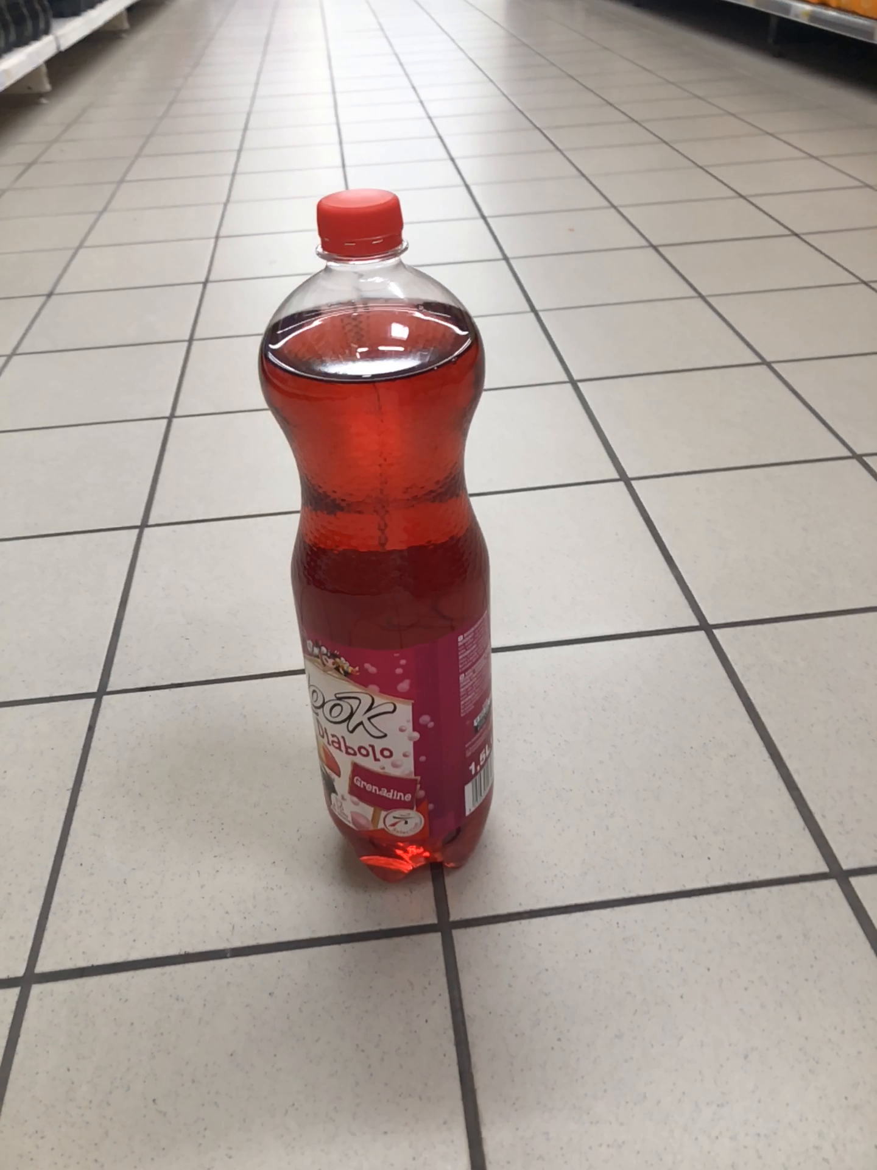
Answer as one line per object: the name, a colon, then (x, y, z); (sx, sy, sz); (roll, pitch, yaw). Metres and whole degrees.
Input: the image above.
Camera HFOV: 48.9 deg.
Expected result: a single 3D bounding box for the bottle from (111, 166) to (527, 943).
bottle: (-0.031, -0.001, 0.414); (0.100, 0.308, 0.101); (-2, 35, 1)
